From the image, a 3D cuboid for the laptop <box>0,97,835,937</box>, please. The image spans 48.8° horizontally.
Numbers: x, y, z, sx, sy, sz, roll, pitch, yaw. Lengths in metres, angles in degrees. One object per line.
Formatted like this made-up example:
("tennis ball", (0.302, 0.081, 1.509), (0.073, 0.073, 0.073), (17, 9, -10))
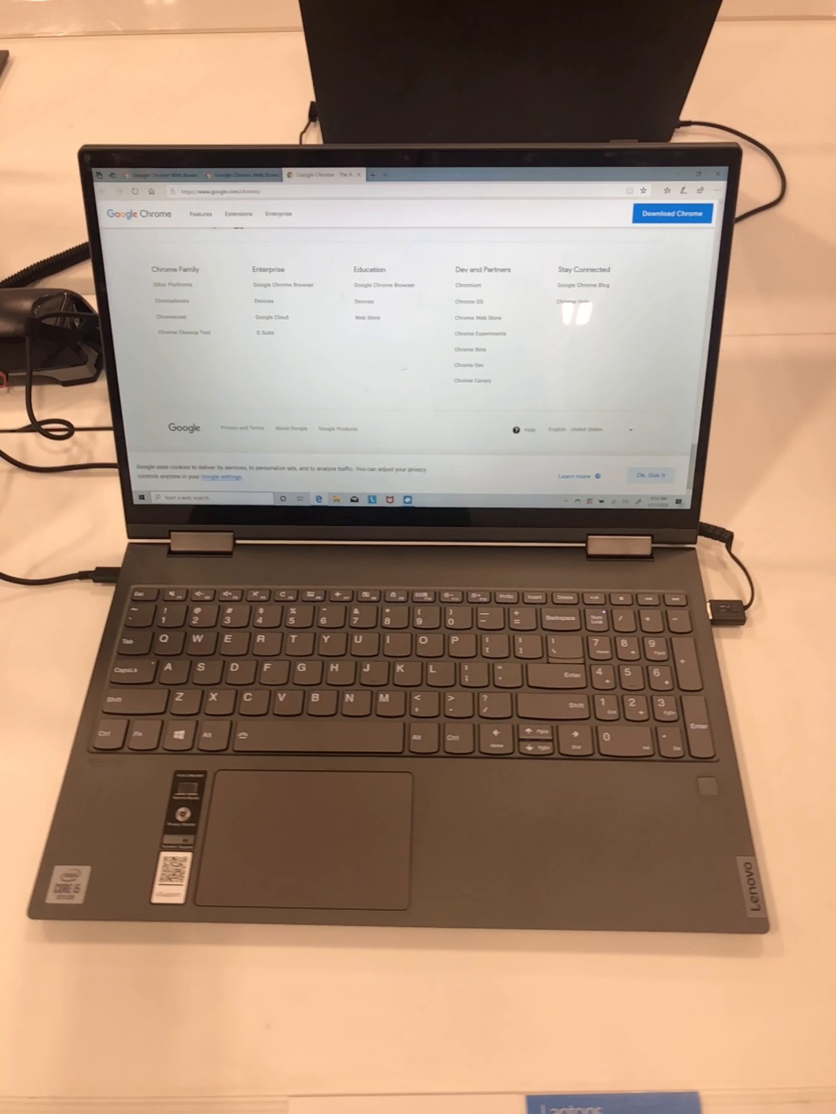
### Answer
("laptop", (-0.009, -0.033, 0.470), (0.352, 0.179, 0.365), (1, 58, 2))
